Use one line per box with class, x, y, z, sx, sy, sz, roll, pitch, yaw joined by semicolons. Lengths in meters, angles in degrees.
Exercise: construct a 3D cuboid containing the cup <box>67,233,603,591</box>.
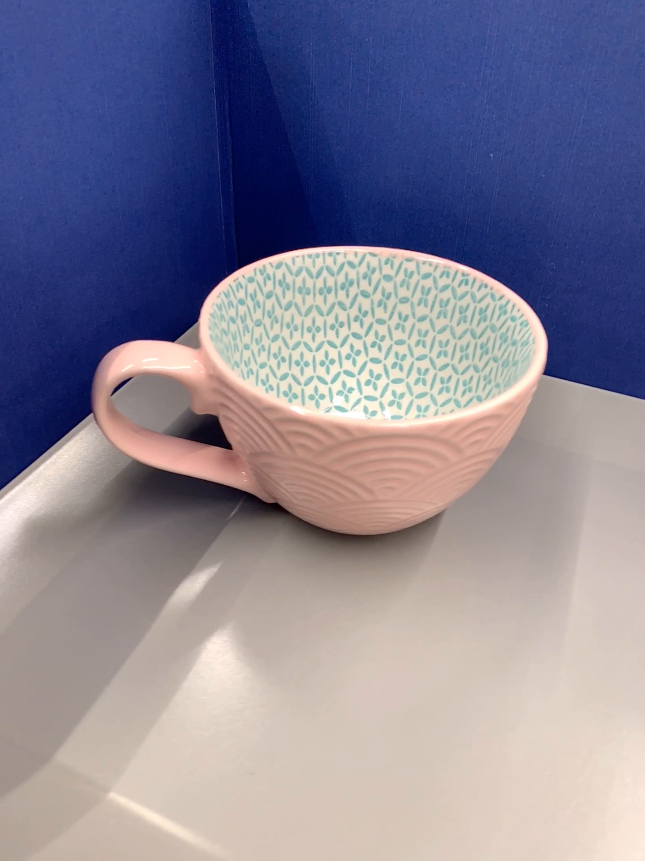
cup;-0.003;-0.014;0.242;0.150;0.064;0.105;-5;46;-9
